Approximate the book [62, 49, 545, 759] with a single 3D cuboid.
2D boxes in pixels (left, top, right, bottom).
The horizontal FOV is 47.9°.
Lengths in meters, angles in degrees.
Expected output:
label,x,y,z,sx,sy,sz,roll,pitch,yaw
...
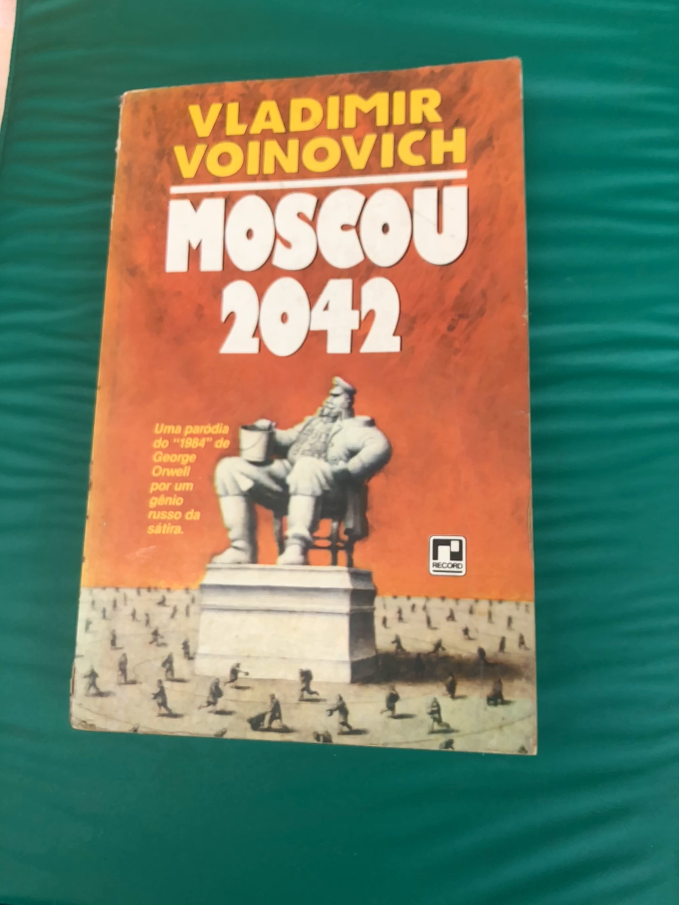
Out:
label,x,y,z,sx,sy,sz,roll,pitch,yaw
book,-0.009,-0.020,0.232,0.132,0.020,0.203,0,80,8
